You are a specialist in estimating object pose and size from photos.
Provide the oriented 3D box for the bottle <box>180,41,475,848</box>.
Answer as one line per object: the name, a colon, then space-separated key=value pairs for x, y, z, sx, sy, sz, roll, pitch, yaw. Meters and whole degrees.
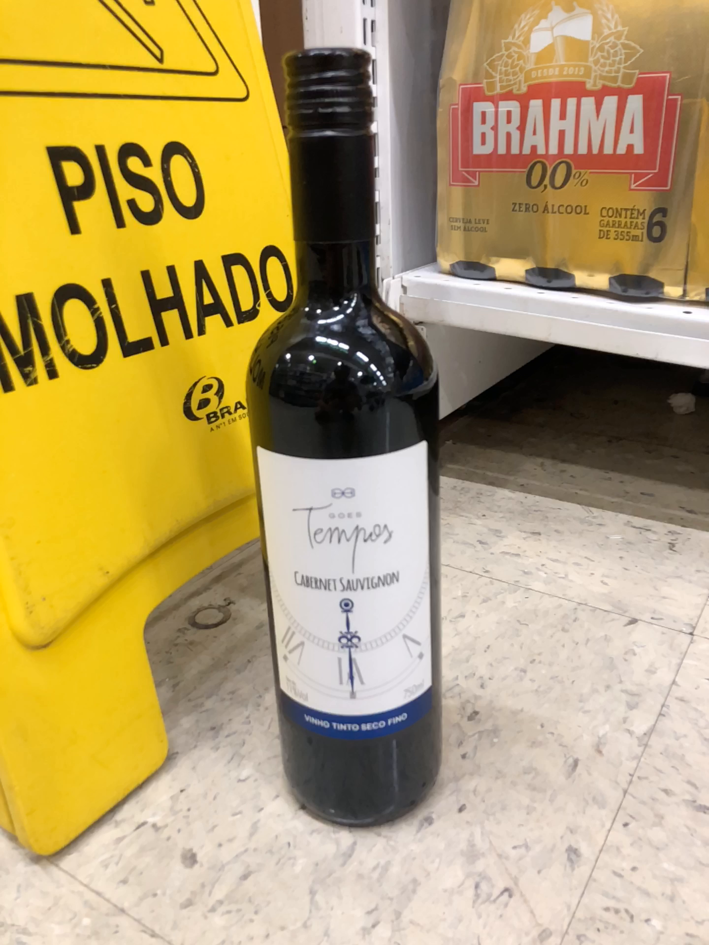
bottle: x=0.001 y=0.005 z=0.297 sx=0.080 sy=0.288 sz=0.070 roll=0 pitch=22 yaw=5
